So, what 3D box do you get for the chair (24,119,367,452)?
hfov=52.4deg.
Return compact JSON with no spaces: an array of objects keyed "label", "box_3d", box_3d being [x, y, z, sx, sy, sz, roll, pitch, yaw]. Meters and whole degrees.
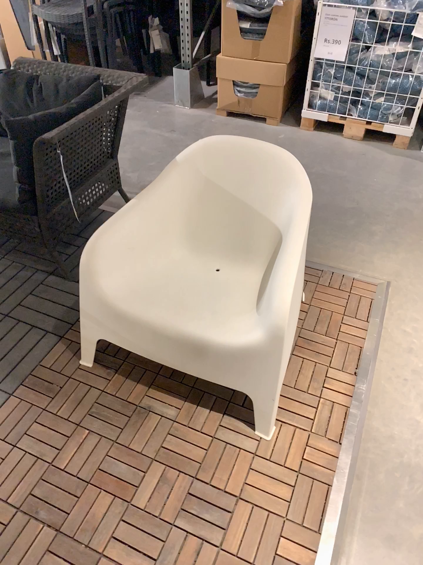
[{"label":"chair","box_3d":[0.007,-0.050,1.503,0.771,0.637,0.762,17,45,18]}]
